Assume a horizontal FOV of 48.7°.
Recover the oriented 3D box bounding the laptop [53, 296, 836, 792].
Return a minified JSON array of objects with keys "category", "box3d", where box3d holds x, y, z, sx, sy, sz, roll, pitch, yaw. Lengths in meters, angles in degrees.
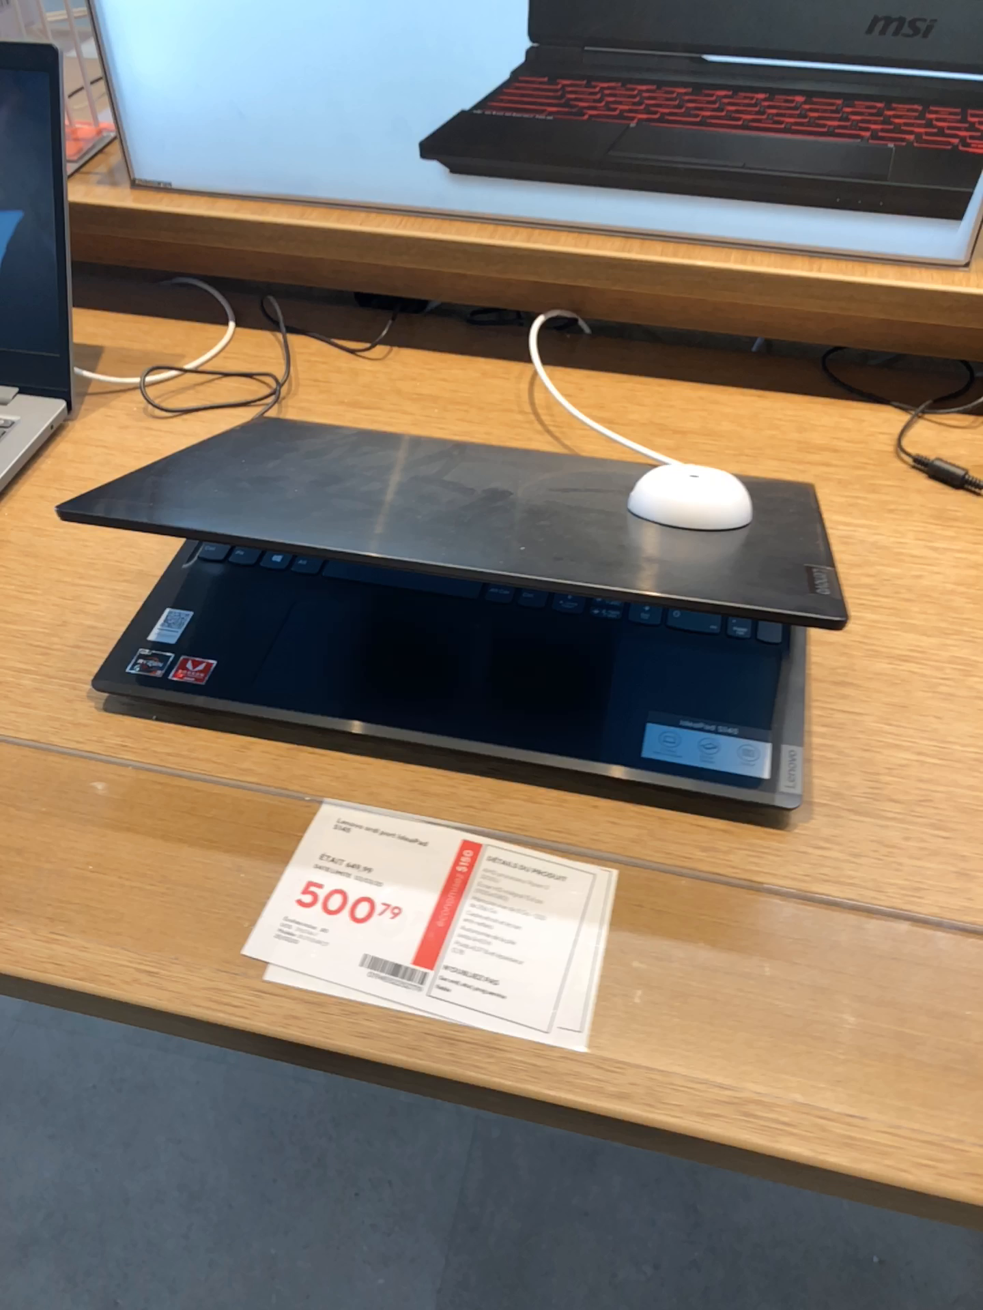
[{"category":"laptop","box3d":[-0.002,-0.071,0.557,0.330,0.083,0.224,9,48,7]}]
